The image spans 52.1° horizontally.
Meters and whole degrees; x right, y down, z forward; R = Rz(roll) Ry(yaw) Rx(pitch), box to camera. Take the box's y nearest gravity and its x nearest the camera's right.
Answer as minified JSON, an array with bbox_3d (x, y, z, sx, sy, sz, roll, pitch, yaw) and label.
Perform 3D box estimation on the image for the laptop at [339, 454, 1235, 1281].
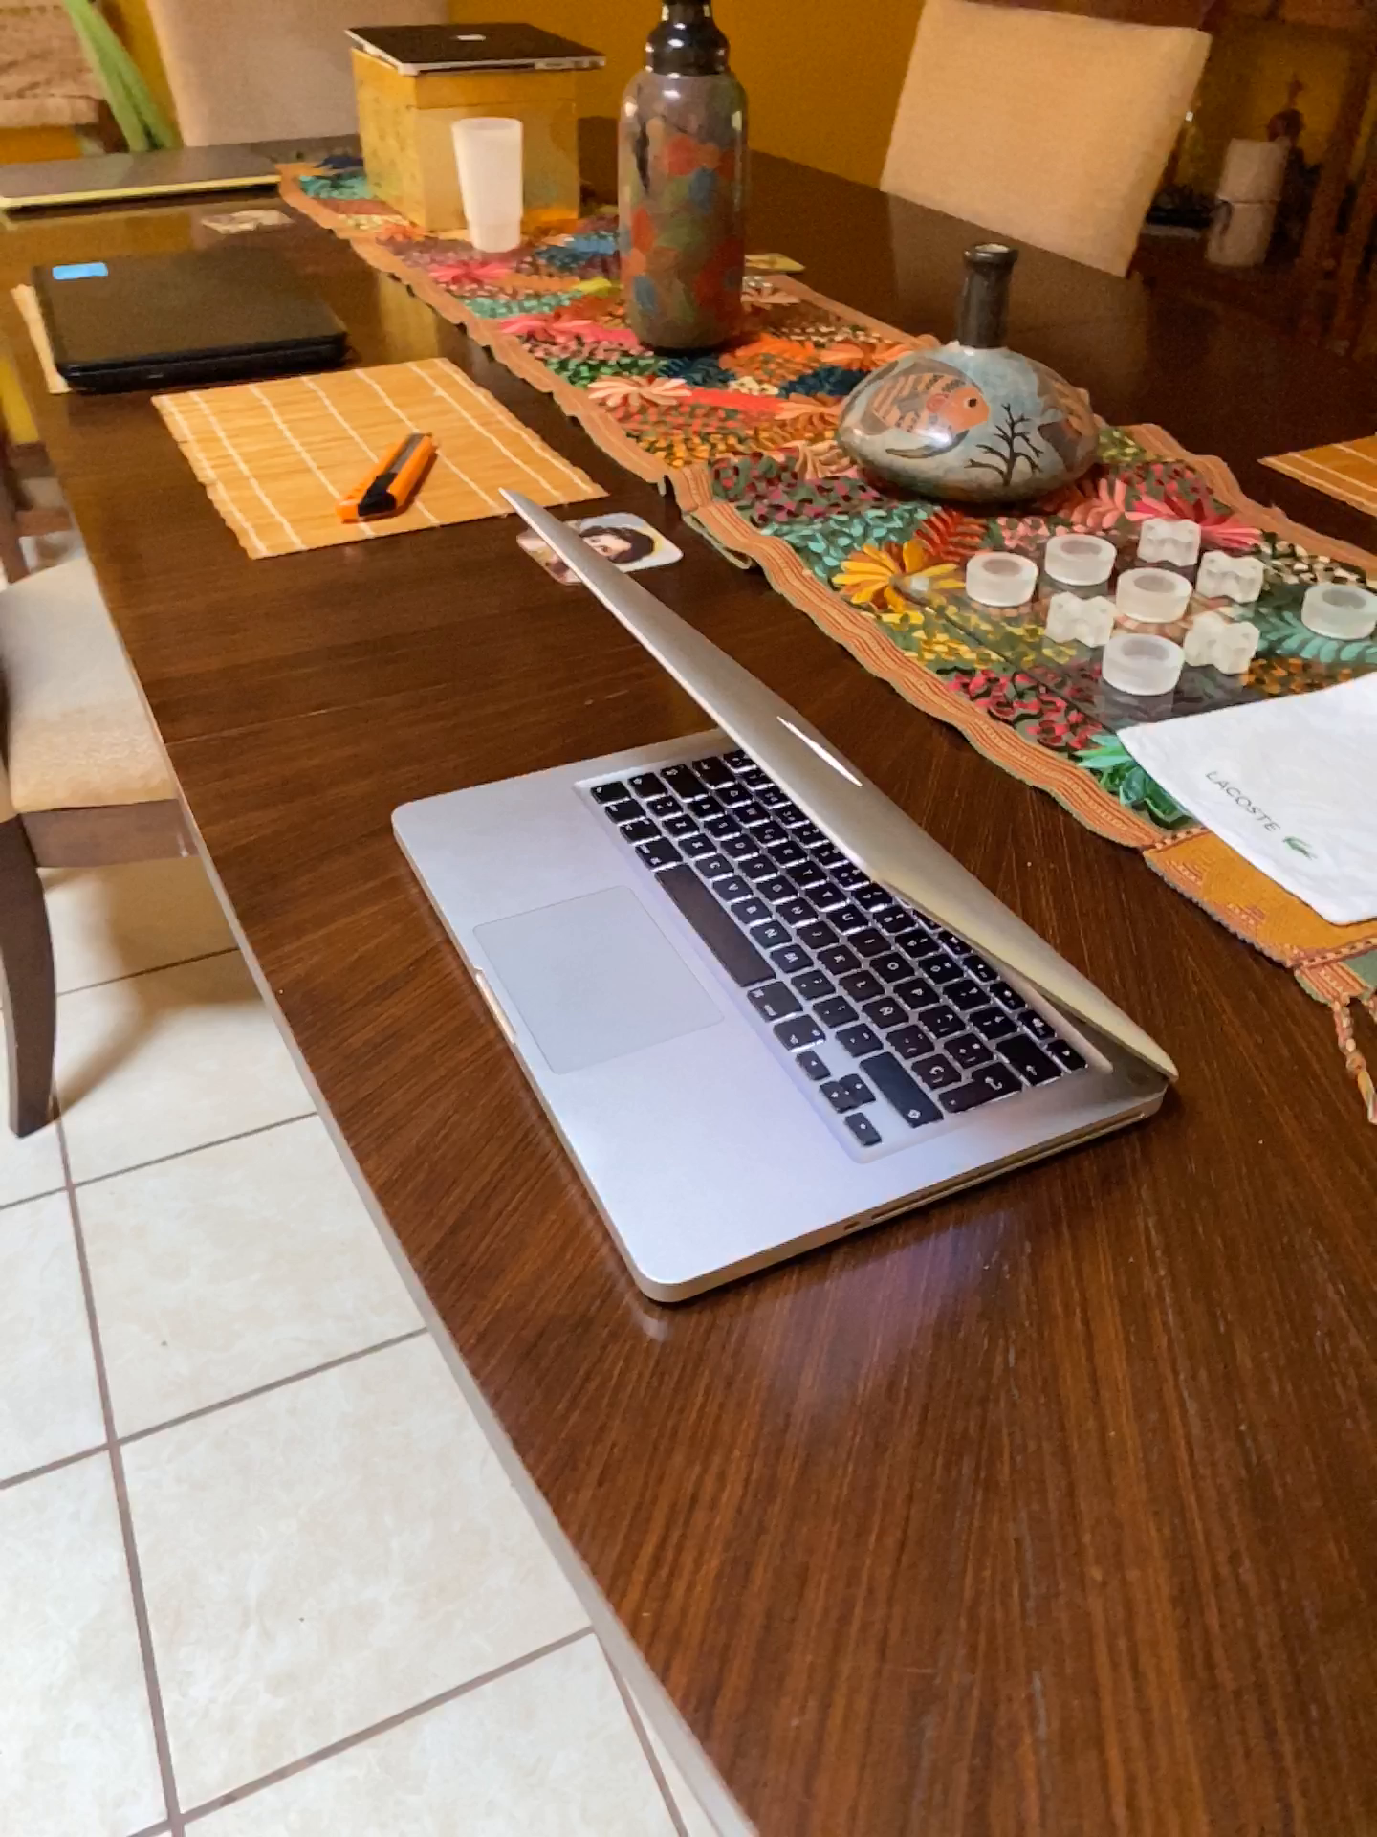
[{"bbox_3d":[0.013,-0.052,0.593,0.213,0.152,0.323,-17,41,-21],"label":"laptop"}]
